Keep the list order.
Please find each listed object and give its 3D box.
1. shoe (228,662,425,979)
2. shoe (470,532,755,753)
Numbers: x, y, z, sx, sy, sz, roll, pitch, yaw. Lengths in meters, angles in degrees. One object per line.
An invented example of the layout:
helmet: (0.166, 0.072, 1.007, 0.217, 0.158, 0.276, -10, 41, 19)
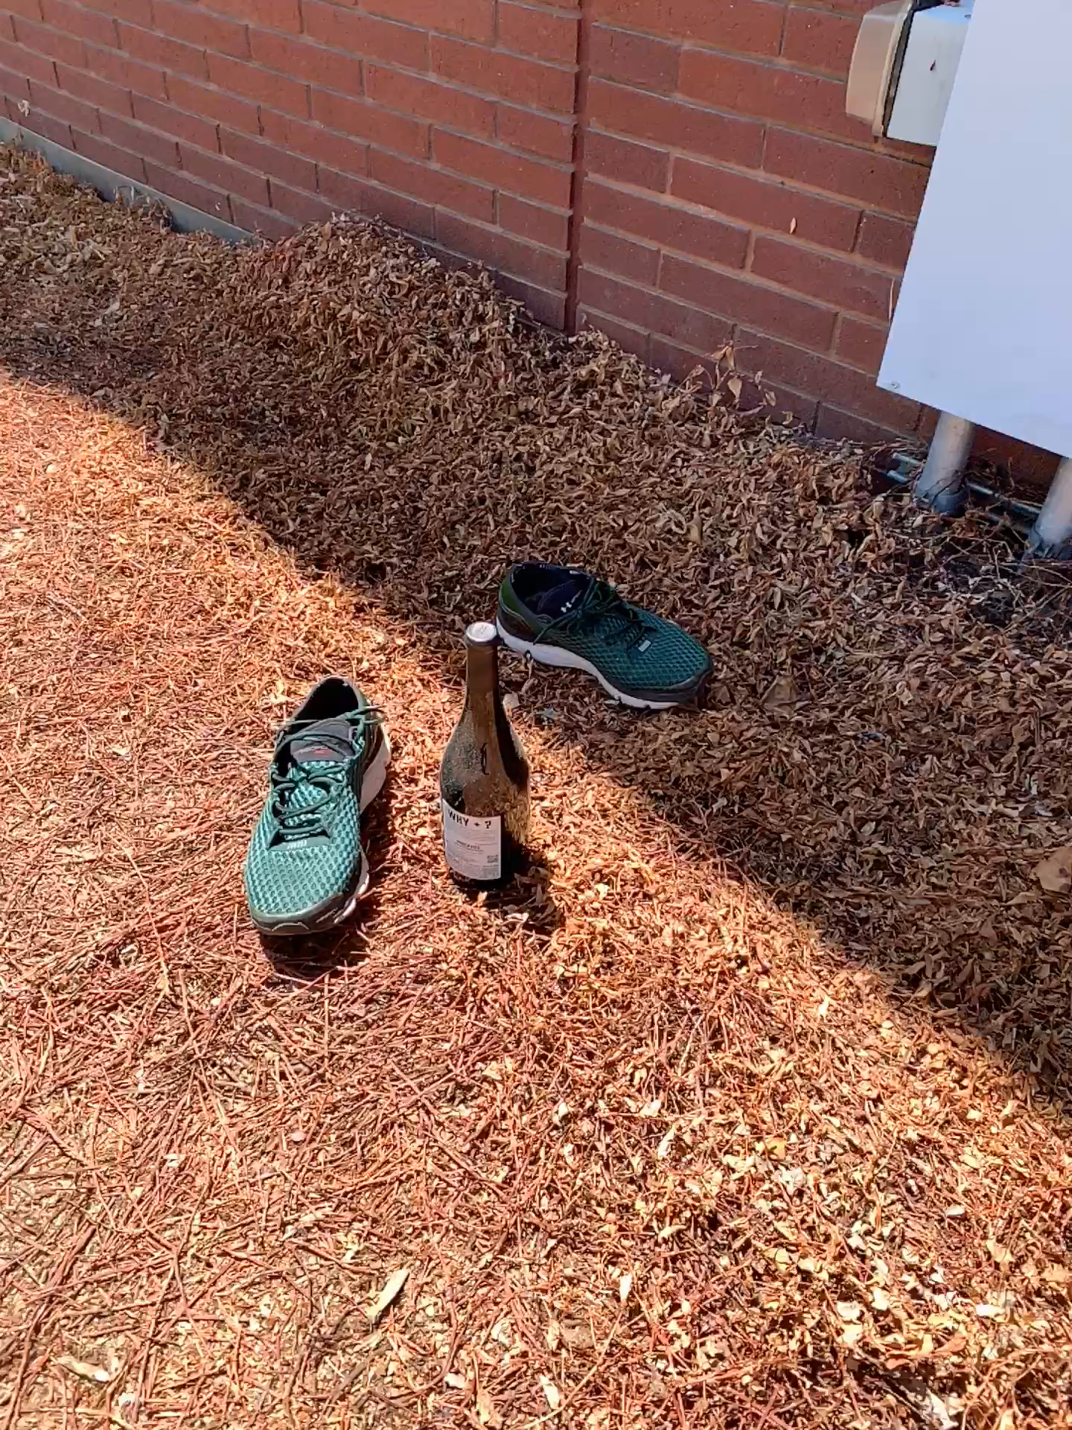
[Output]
shoe: (-0.182, 0.088, 1.020, 0.110, 0.109, 0.282, 5, 44, 3)
shoe: (0.080, -0.088, 1.254, 0.301, 0.109, 0.110, 25, 48, 22)
